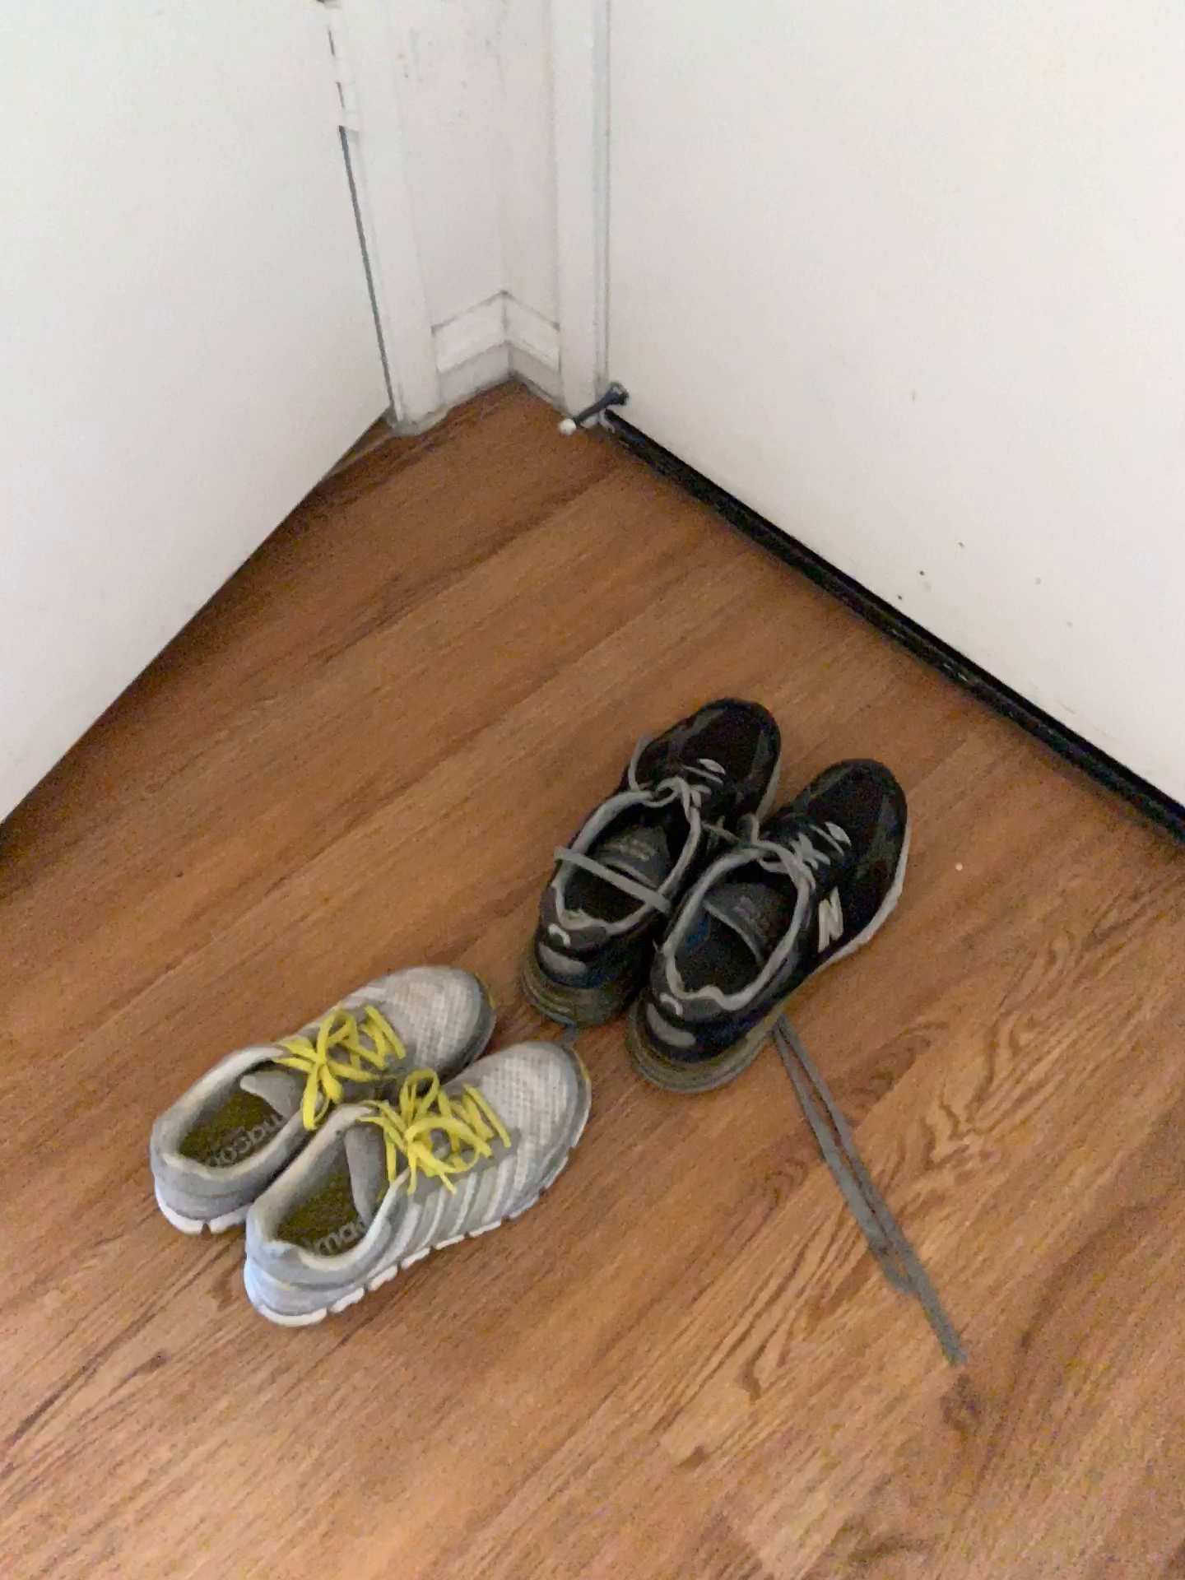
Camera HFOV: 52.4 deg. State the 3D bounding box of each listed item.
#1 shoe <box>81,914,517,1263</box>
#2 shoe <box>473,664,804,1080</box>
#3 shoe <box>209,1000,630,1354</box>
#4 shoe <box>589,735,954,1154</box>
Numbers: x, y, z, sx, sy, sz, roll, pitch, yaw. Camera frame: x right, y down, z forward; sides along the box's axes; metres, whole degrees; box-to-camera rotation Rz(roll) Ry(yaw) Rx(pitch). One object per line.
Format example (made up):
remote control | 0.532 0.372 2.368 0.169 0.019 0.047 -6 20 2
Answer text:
shoe | -0.181 0.206 0.817 0.260 0.169 0.070 -30 70 -17
shoe | 0.038 0.068 1.016 0.100 0.169 0.311 34 63 14
shoe | -0.110 0.271 0.831 0.250 0.169 0.090 -30 70 -17
shoe | 0.139 0.123 0.961 0.100 0.169 0.300 39 65 17
